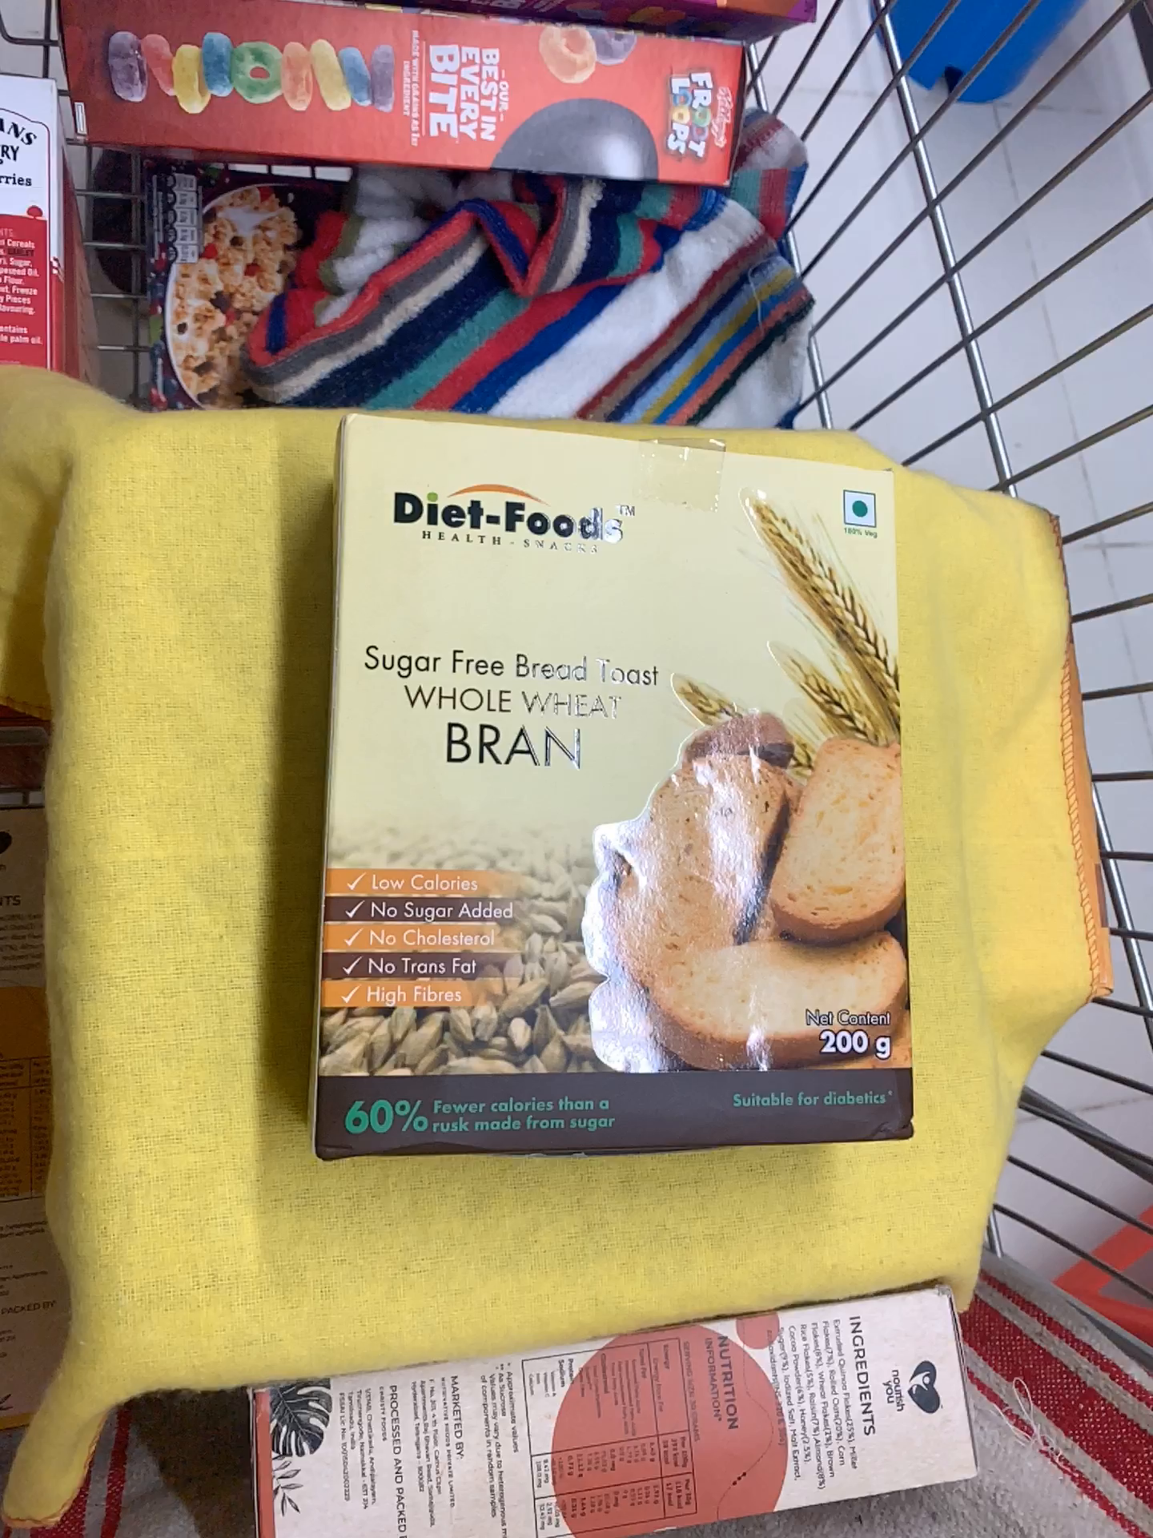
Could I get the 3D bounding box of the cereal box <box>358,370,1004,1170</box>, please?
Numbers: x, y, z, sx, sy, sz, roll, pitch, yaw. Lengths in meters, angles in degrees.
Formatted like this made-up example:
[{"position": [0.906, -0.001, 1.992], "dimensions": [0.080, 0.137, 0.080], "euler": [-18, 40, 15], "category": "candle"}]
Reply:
[{"position": [0.022, 0.002, 0.288], "dimensions": [0.140, 0.050, 0.170], "euler": [3, 80, -13], "category": "cereal box"}]
